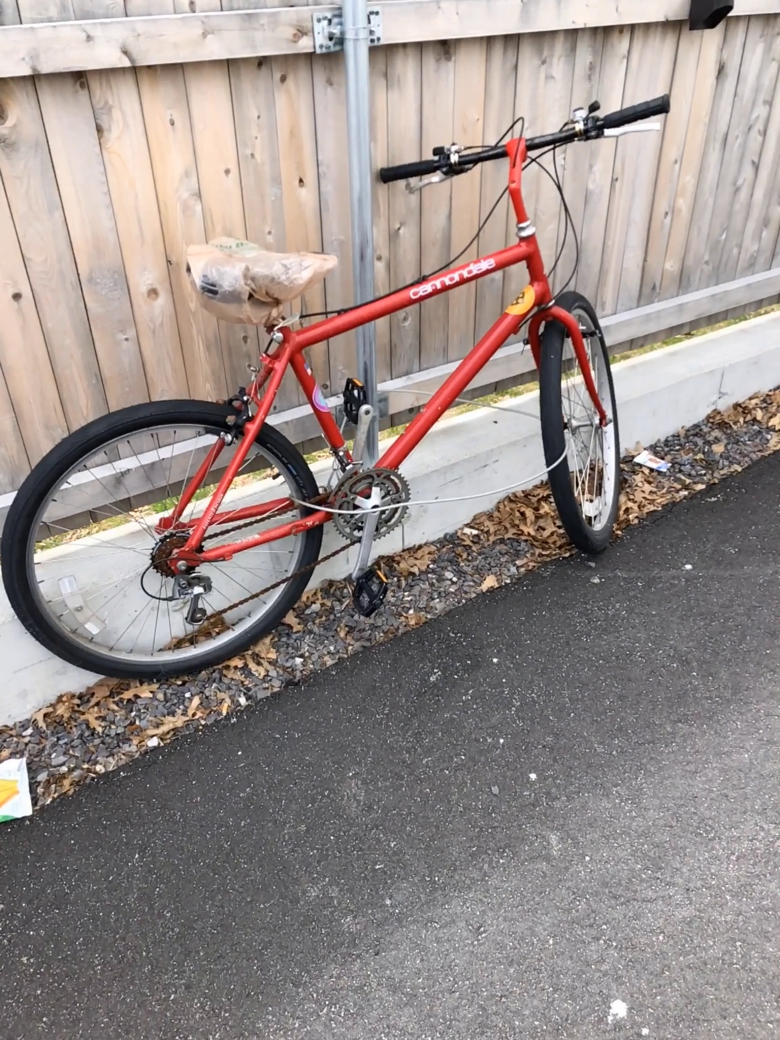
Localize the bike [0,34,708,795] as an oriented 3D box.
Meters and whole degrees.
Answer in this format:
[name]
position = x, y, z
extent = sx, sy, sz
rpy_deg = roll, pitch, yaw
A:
[bike]
position = -0.098, -0.353, 1.827
extent = 1.478, 1.001, 0.595
rpy_deg = -23, 37, -25
